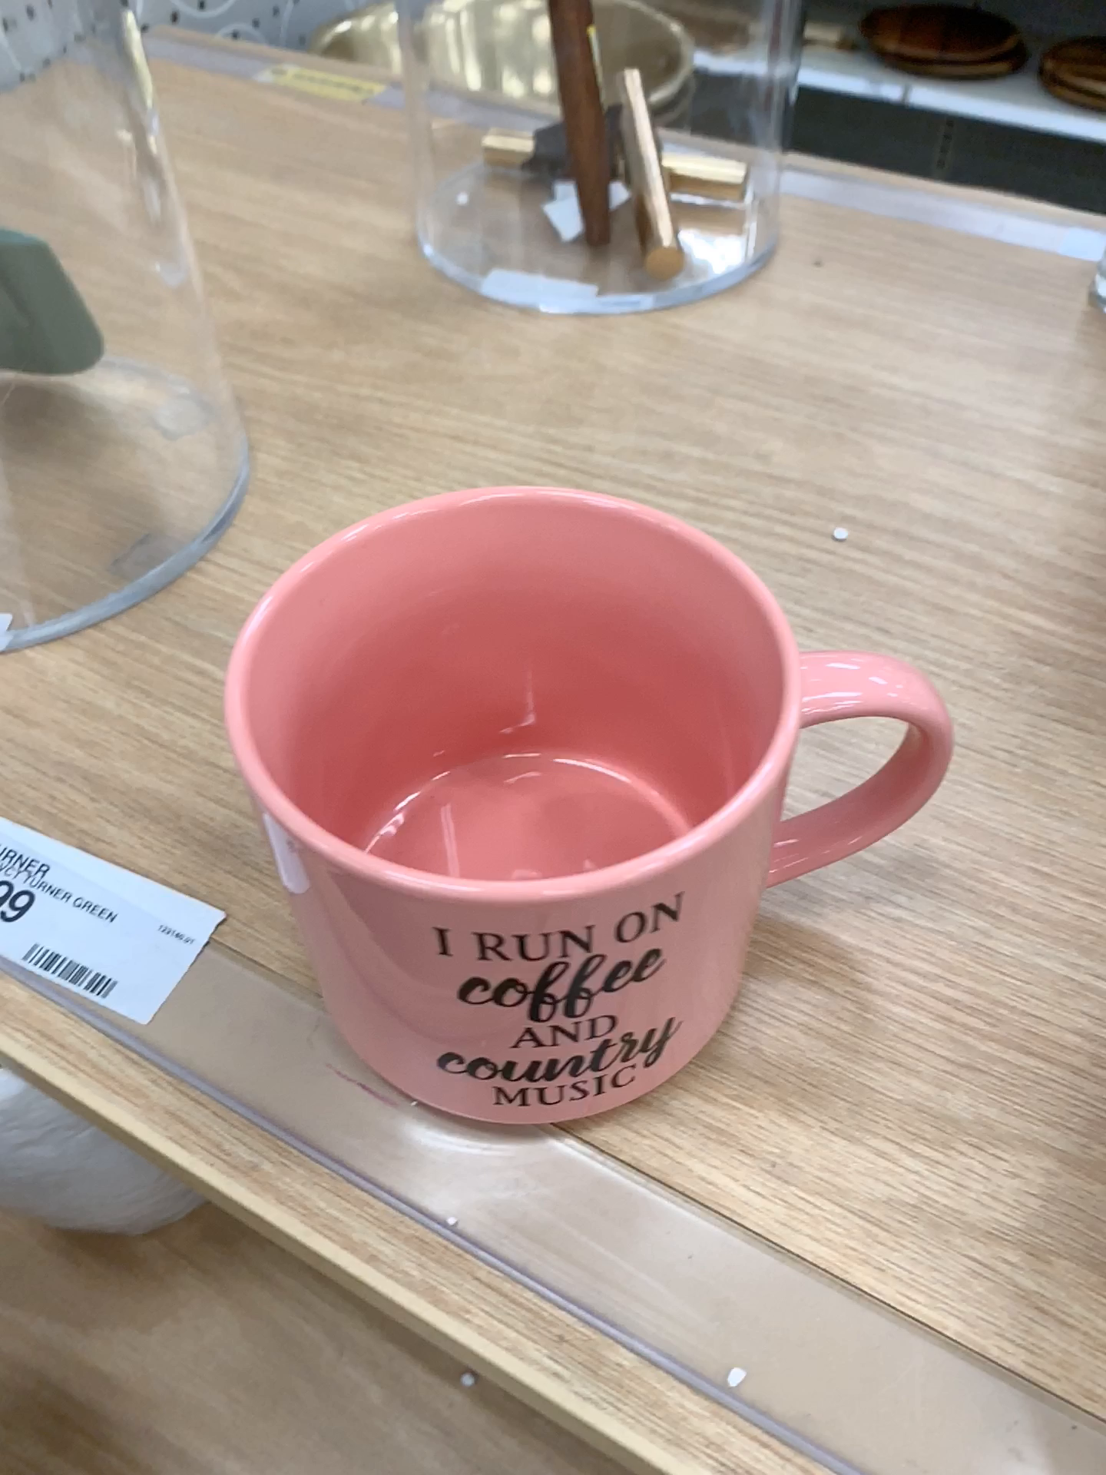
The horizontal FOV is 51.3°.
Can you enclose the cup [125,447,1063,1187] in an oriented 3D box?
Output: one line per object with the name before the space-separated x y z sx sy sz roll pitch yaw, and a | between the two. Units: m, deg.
cup | 0.003 0.014 0.228 0.132 0.085 0.104 -5 48 -3
